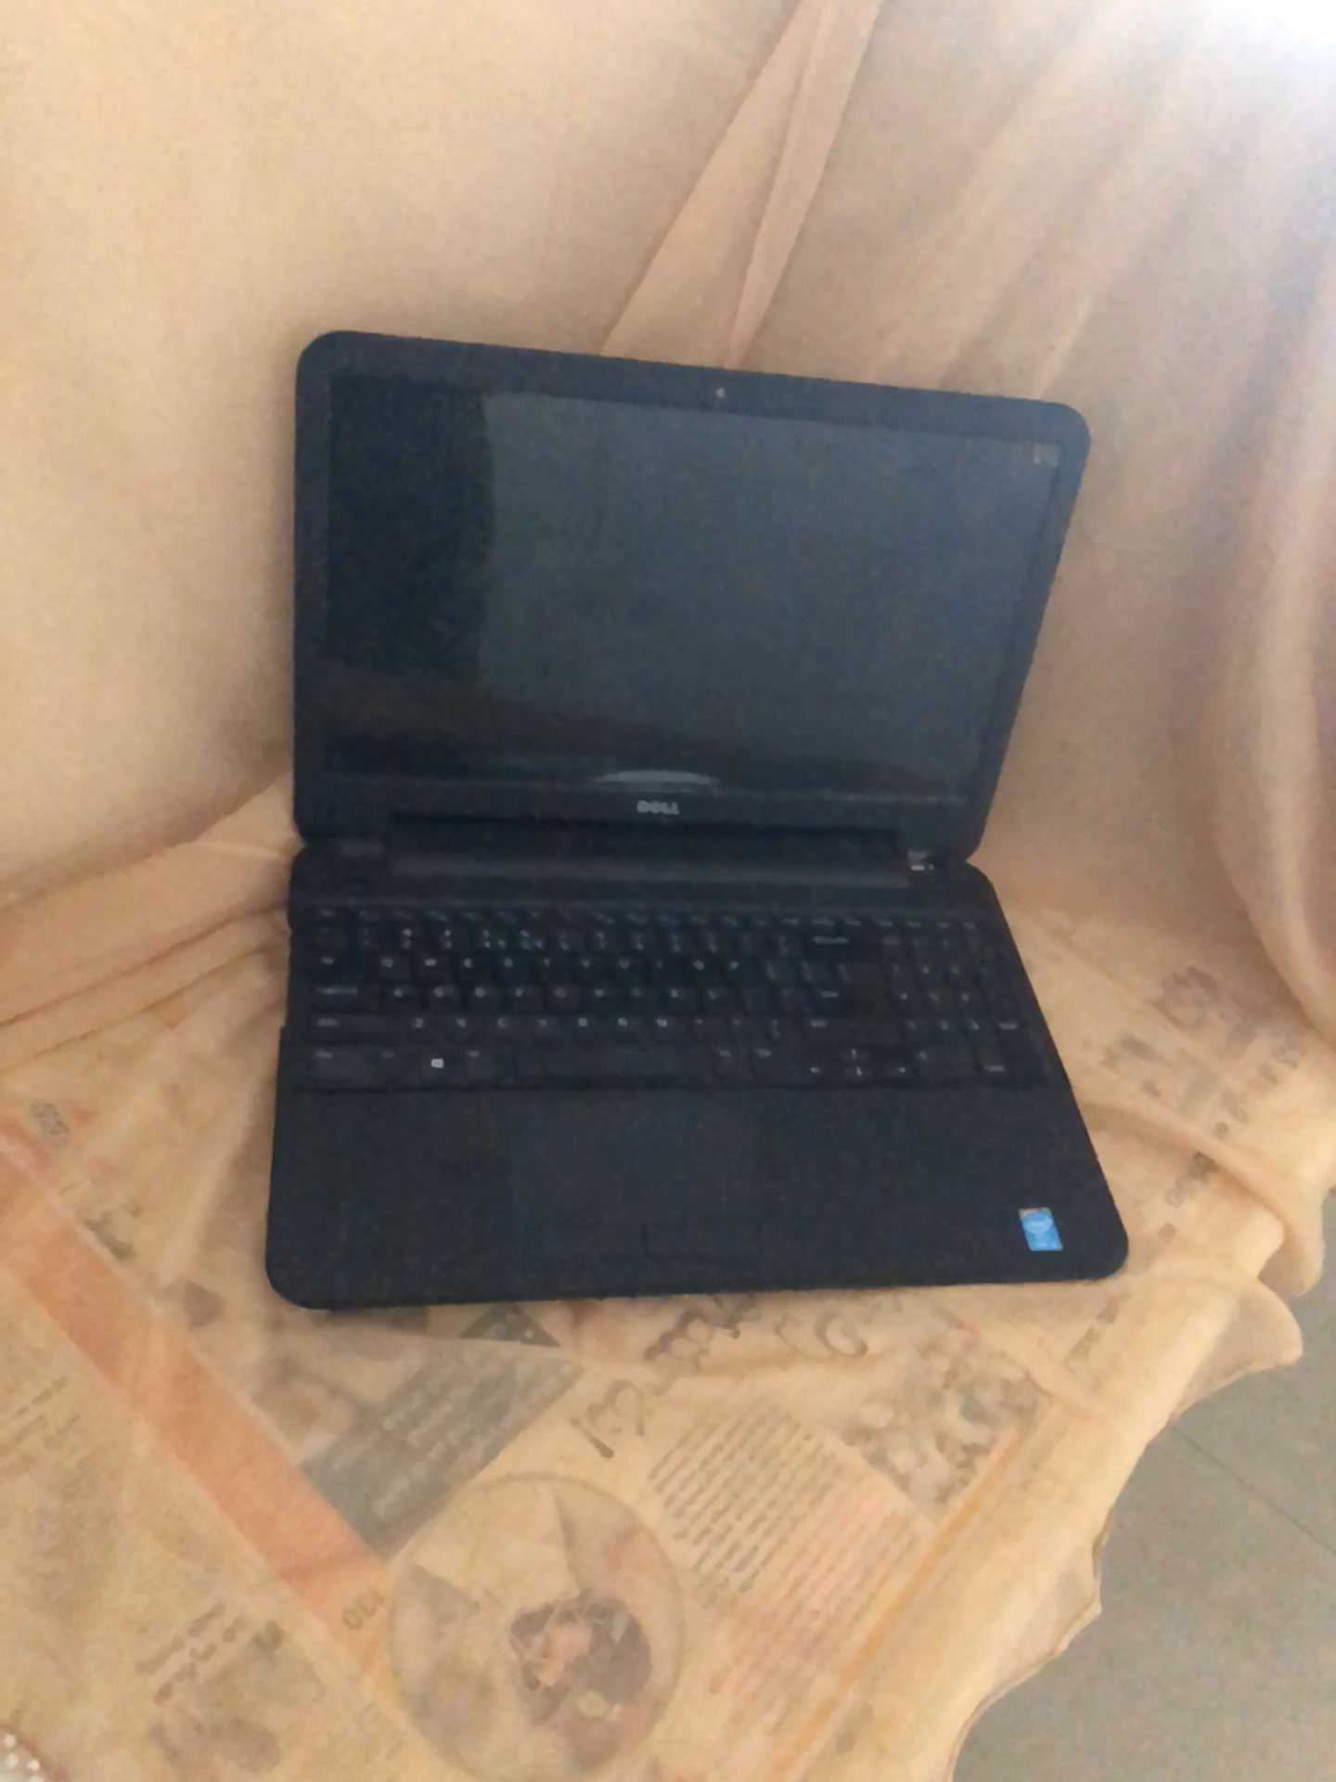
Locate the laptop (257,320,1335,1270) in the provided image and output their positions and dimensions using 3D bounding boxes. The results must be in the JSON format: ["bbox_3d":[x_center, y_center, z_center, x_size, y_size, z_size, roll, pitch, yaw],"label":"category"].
[{"bbox_3d":[0.017,-0.043,0.627,0.348,0.225,0.307,2,45,-13],"label":"laptop"}]
